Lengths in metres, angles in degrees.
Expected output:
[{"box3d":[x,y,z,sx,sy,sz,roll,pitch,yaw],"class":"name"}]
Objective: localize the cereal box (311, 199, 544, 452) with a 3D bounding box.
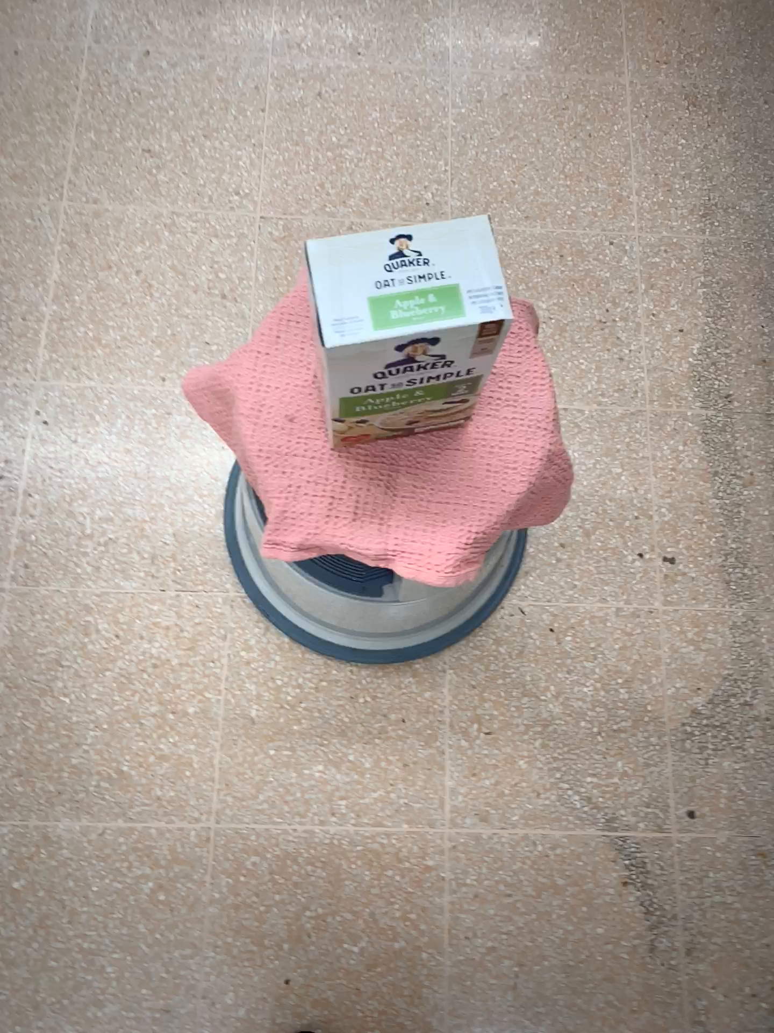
[{"box3d":[0.021,-0.137,0.620,0.140,0.210,0.090,-9,77,-5],"class":"cereal box"}]
